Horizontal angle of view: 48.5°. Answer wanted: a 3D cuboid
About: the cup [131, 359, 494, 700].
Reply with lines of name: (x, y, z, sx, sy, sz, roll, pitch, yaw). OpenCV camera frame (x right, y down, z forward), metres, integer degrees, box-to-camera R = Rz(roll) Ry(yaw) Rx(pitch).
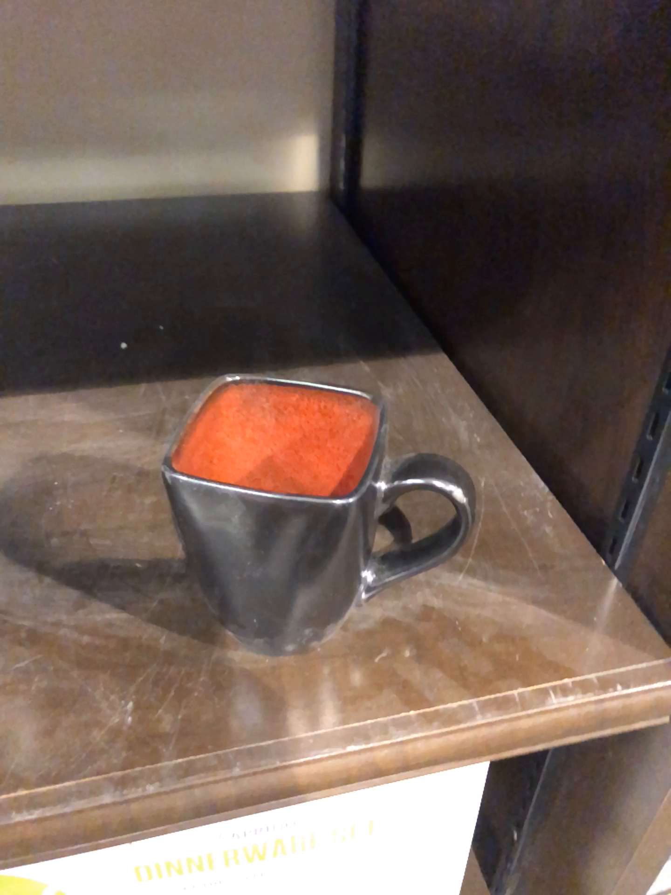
cup: (-0.003, 0.029, 0.314, 0.123, 0.083, 0.095, 8, 35, 10)
